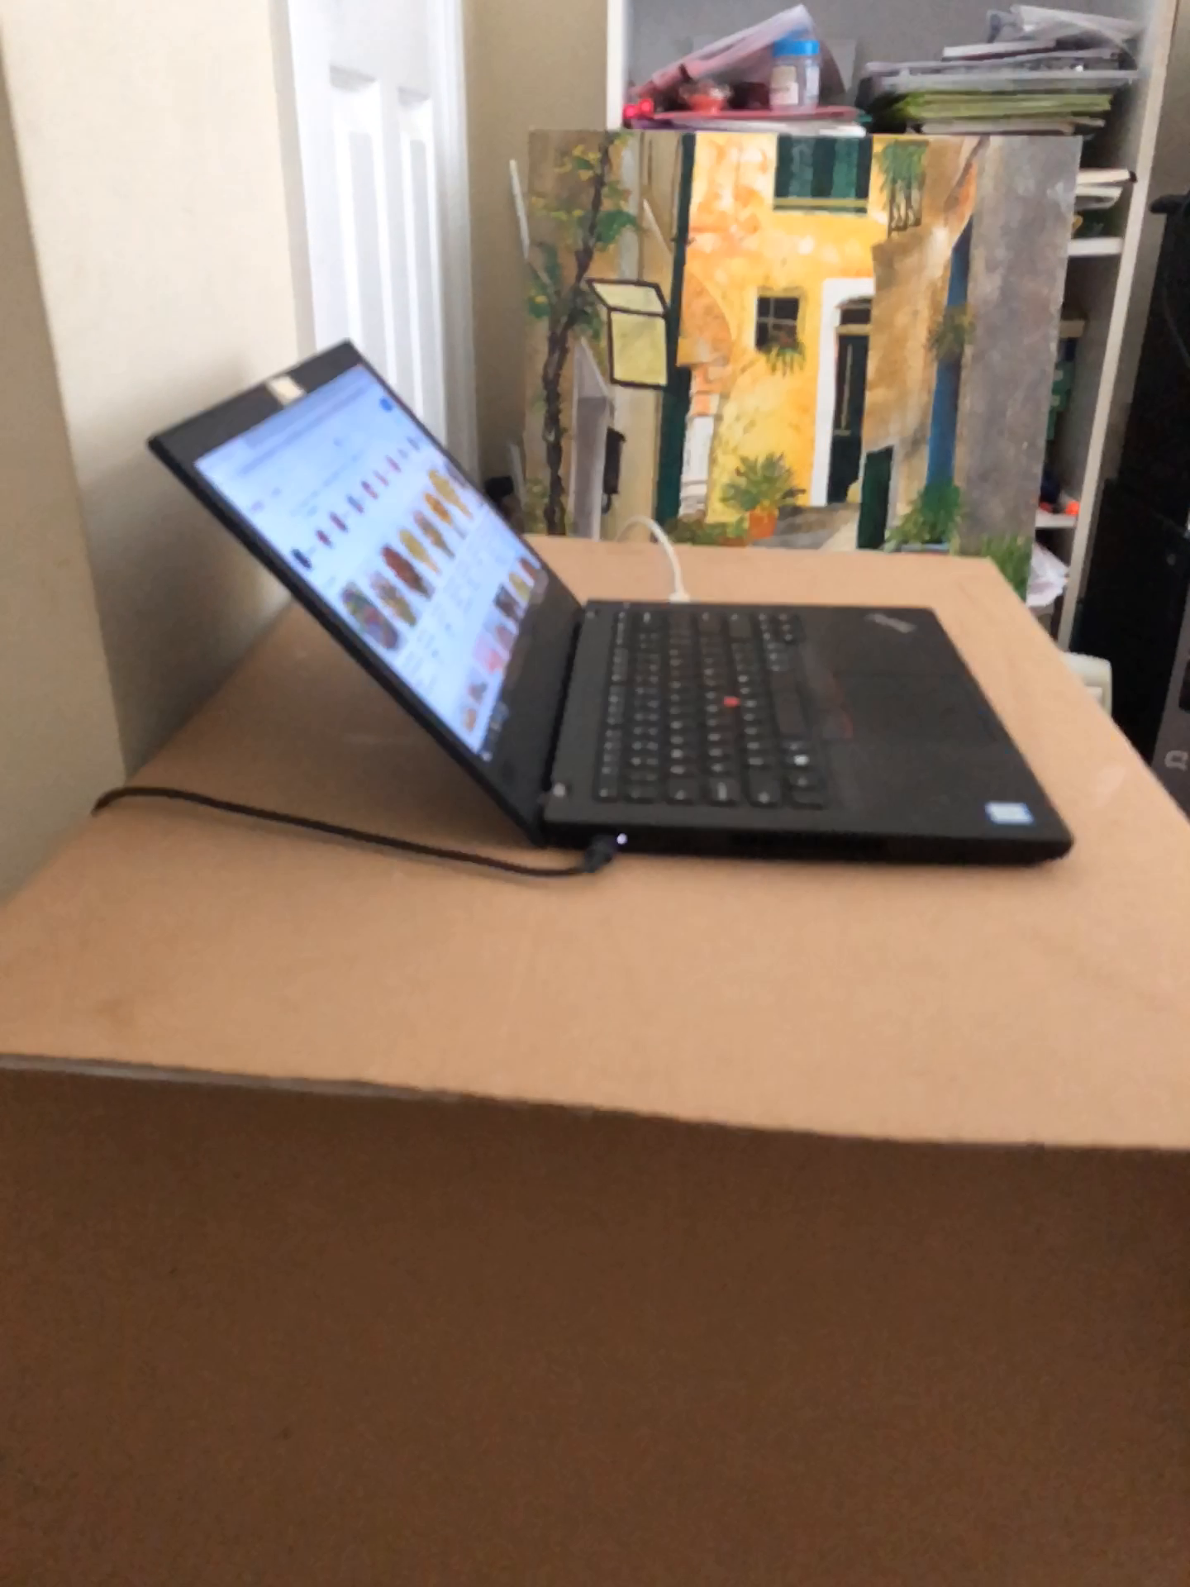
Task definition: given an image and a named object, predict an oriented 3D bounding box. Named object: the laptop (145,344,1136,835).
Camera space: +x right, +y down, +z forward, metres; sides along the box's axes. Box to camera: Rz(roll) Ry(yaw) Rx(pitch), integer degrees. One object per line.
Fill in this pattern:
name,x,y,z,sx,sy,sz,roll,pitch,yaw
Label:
laptop,0.022,-0.126,0.653,0.364,0.158,0.324,1,25,2
